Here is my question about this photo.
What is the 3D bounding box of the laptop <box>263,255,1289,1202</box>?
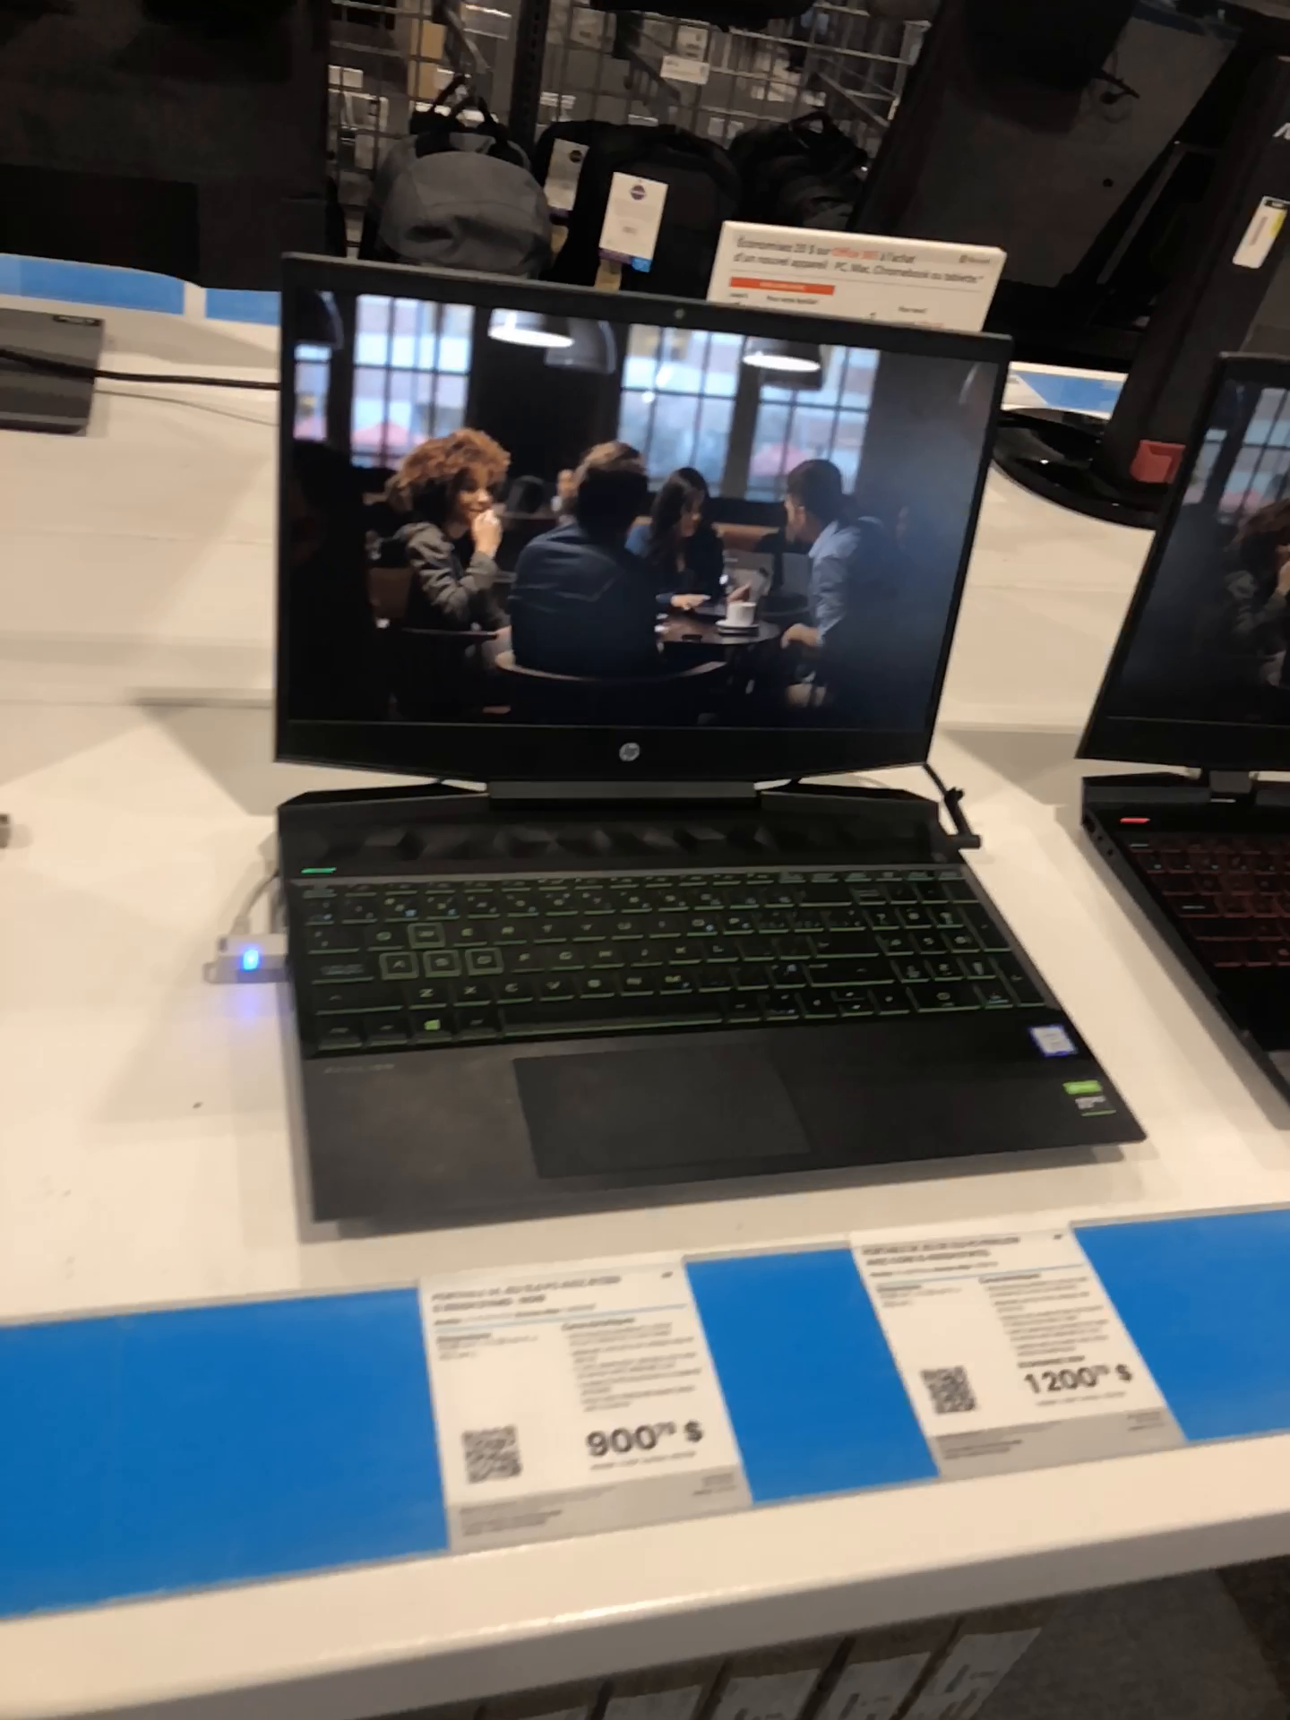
[{"bbox_3d":[0.032,-0.068,0.611,0.355,0.232,0.317,-1,38,-20],"label":"laptop"}]
